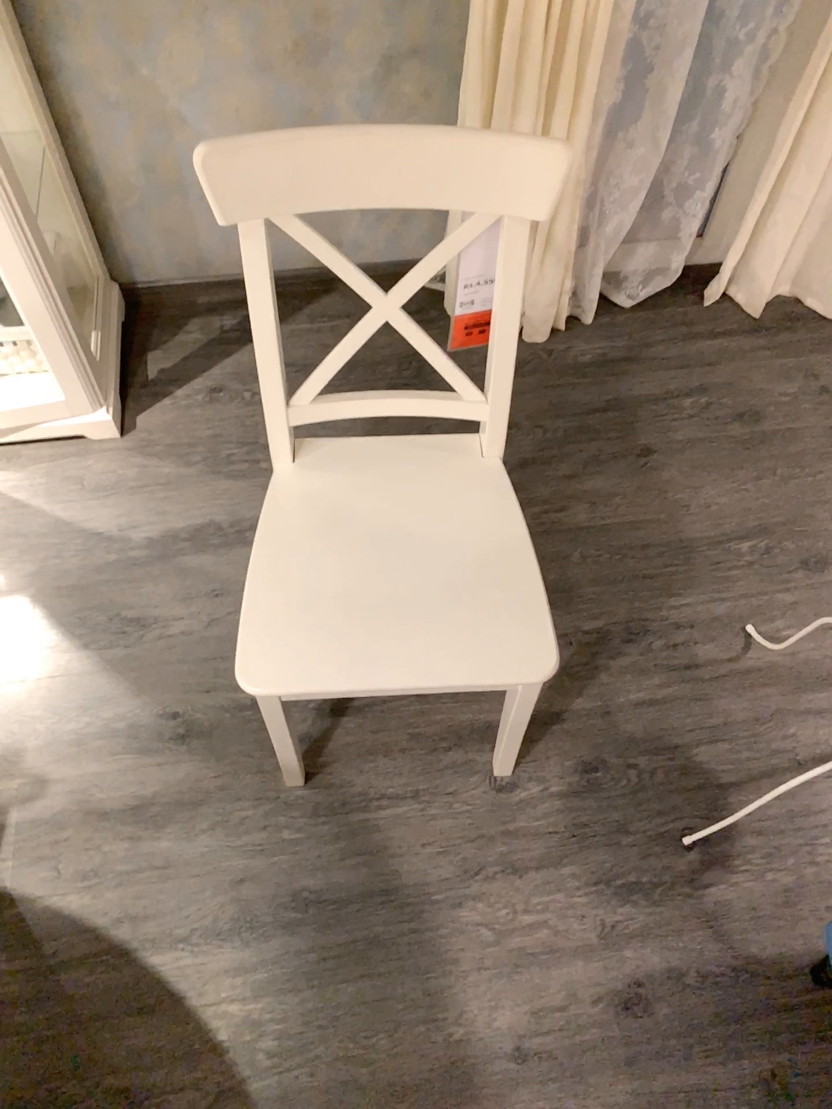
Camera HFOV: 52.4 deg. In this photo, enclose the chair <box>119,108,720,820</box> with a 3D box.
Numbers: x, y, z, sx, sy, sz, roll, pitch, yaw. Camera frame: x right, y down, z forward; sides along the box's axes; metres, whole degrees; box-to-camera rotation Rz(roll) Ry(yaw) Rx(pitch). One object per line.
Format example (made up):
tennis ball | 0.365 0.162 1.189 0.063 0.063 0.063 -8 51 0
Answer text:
chair | -0.024 -0.036 1.115 0.450 0.808 0.541 -3 60 -4
